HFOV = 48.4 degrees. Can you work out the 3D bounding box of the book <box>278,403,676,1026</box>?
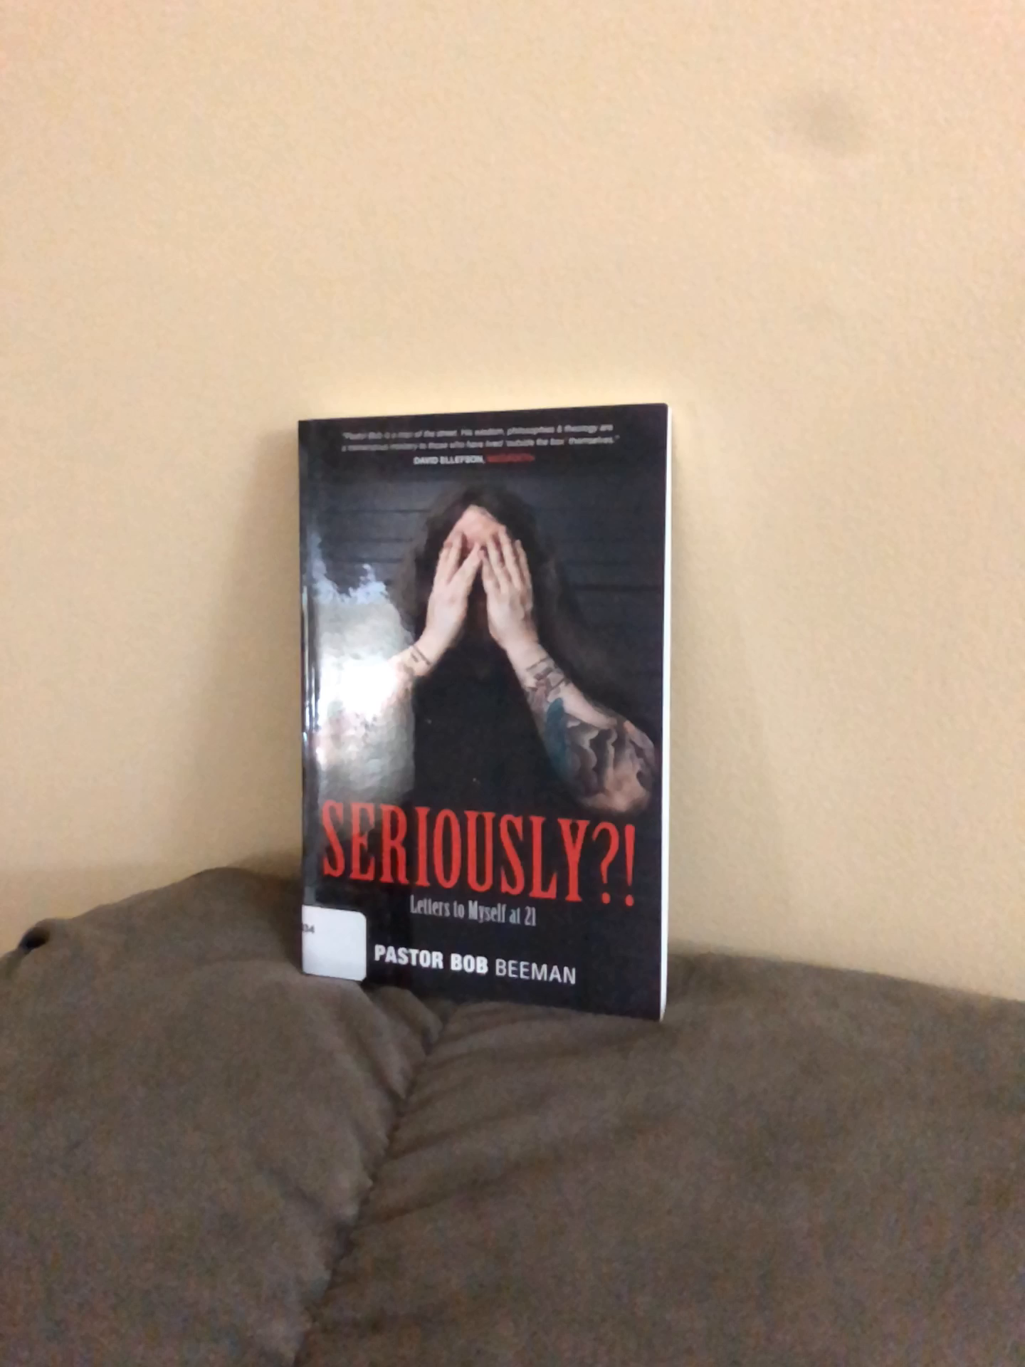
[{"bbox_3d":[-0.013,0.010,0.403,0.136,0.205,0.023,2,7,17],"label":"book"}]
